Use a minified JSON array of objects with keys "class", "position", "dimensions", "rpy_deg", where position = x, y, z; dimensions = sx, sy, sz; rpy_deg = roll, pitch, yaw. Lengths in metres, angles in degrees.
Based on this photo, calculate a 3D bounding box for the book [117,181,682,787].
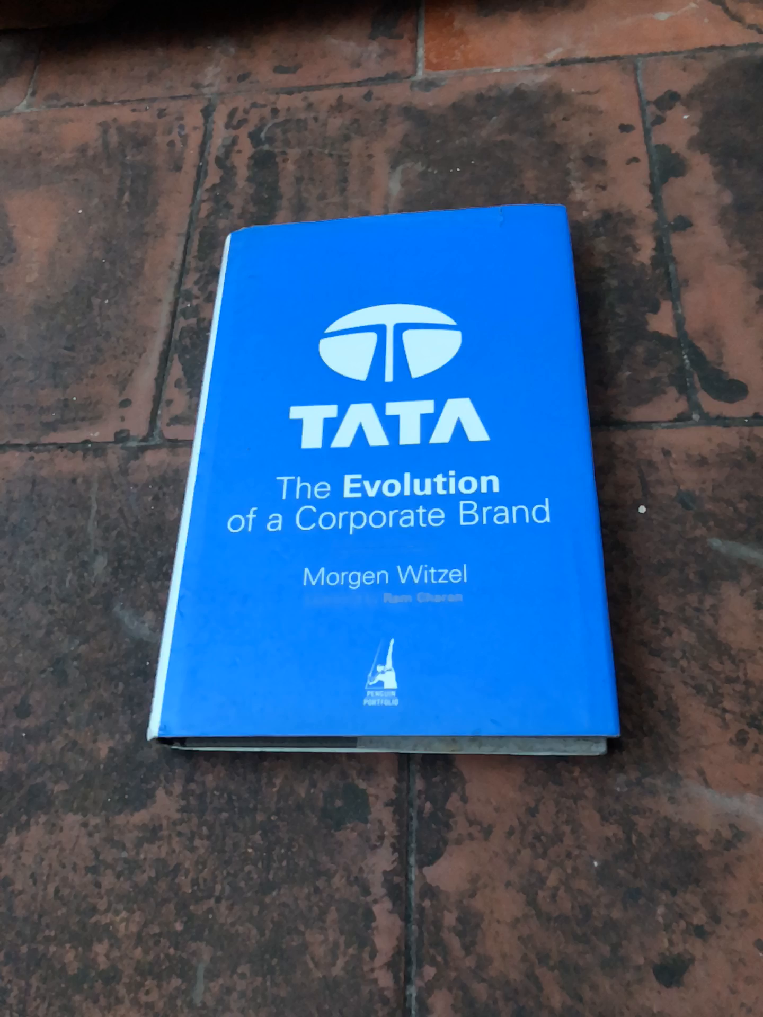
[{"class":"book","position":[0.008,-0.021,0.327],"dimensions":[0.170,0.040,0.240],"rpy_deg":[-1,62,7]}]
